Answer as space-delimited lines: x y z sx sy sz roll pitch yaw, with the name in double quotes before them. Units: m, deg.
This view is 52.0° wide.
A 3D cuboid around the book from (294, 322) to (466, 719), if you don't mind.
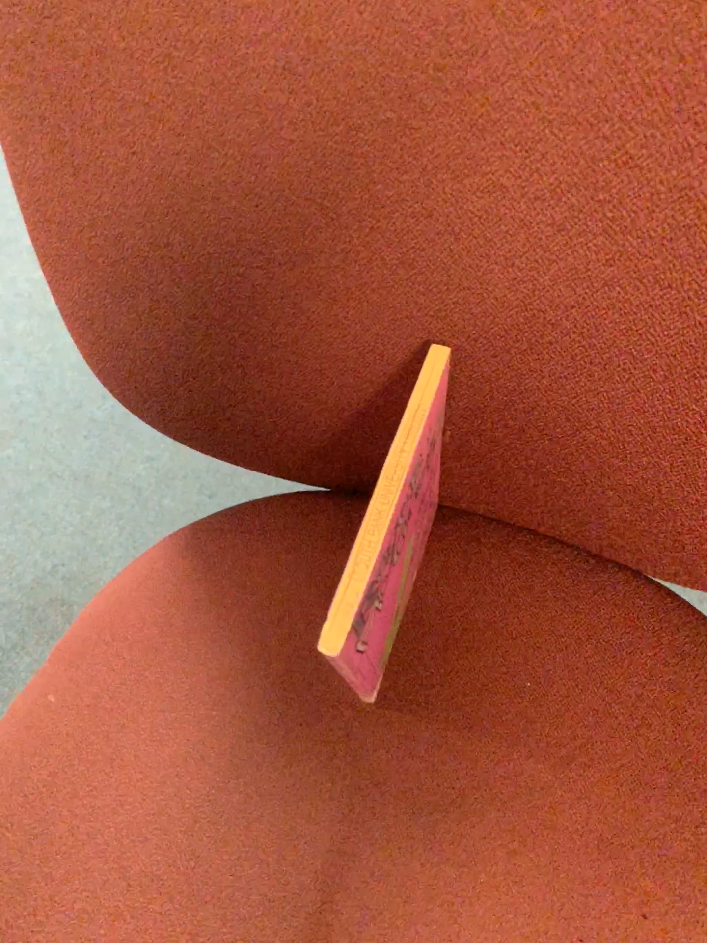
"book" 0.020 0.040 0.357 0.017 0.190 0.141 17 69 12
